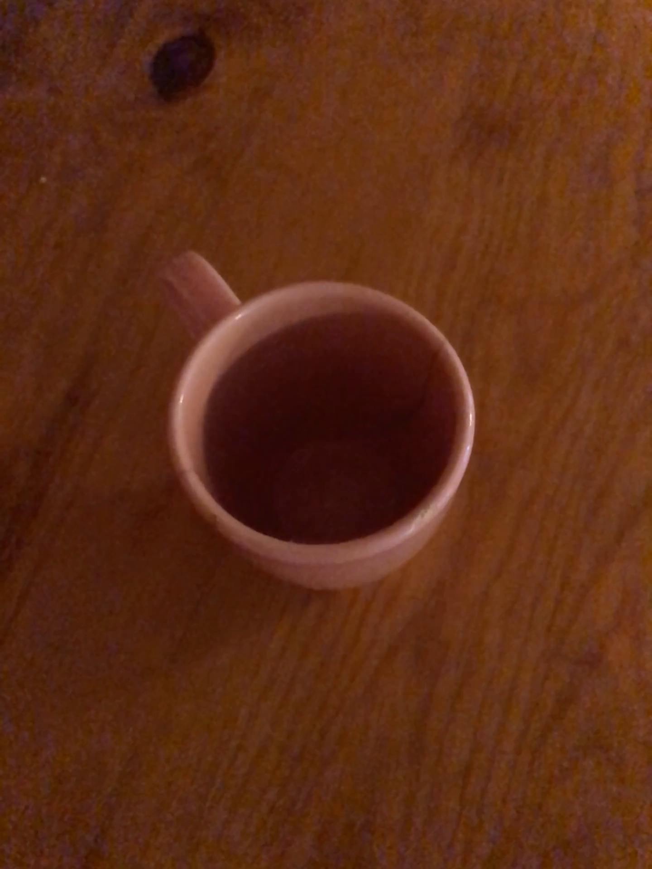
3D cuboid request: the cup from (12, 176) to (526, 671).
[{"bbox_3d":[-0.016,0.001,0.255,0.121,0.095,0.090,39,74,17],"label":"cup"}]
